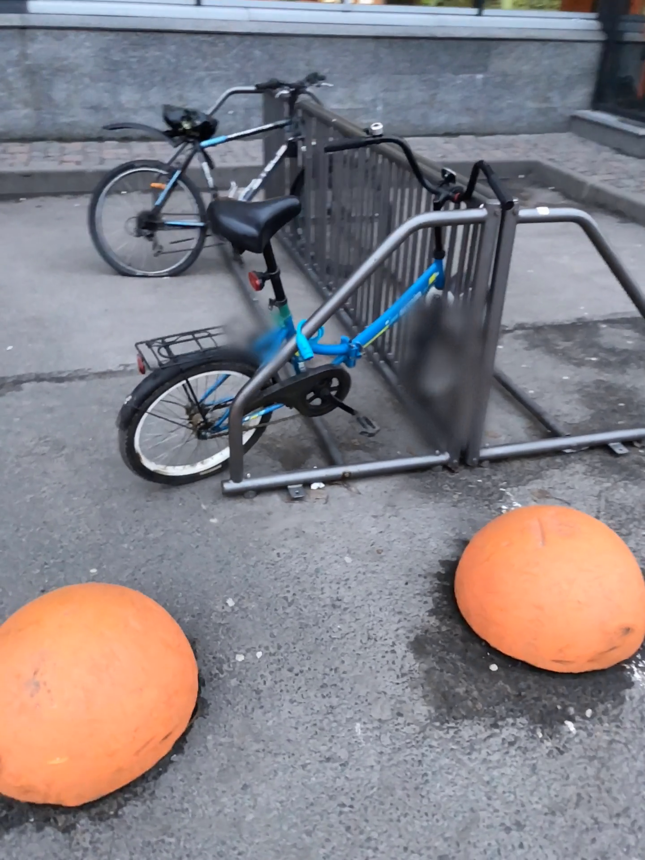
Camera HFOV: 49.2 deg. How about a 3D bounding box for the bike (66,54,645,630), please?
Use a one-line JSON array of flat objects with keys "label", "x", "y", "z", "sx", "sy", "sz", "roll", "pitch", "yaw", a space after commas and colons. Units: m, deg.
[{"label": "bike", "x": 0.148, "y": -0.364, "z": 2.038, "sx": 1.424, "sy": 0.991, "sz": 0.726, "roll": -23, "pitch": 39, "yaw": -25}]
